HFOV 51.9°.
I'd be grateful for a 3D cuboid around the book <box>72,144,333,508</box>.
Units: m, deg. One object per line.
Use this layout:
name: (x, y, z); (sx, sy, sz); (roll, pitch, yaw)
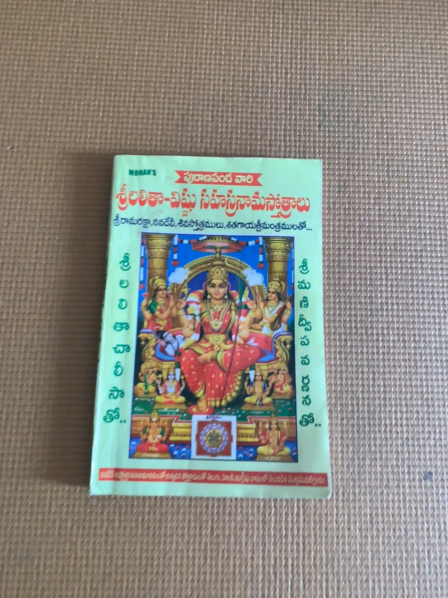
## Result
book: (-0.010, 0.011, 0.278); (0.140, 0.020, 0.210); (1, 79, -2)
